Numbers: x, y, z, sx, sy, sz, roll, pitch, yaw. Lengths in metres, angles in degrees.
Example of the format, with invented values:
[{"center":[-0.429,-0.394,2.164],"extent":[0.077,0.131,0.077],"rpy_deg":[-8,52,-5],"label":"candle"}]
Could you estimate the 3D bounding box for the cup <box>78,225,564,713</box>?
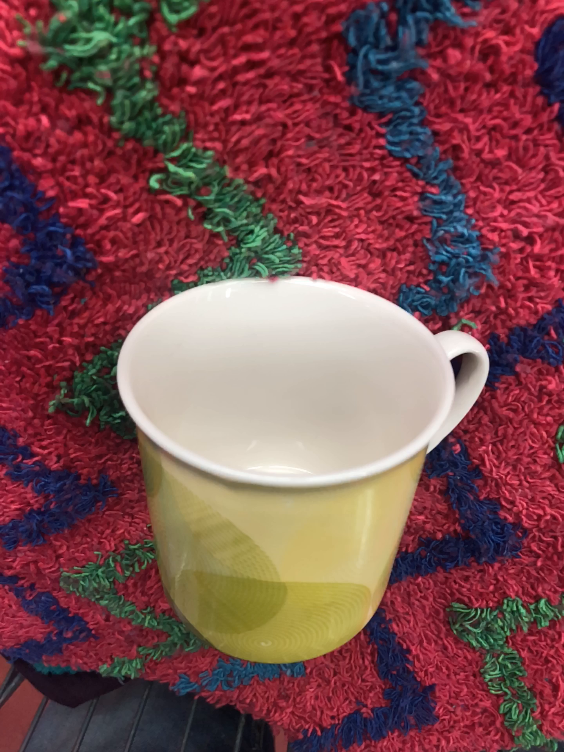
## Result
[{"center":[0.010,0.022,0.191],"extent":[0.110,0.080,0.090],"rpy_deg":[-15,132,-19],"label":"cup"}]
